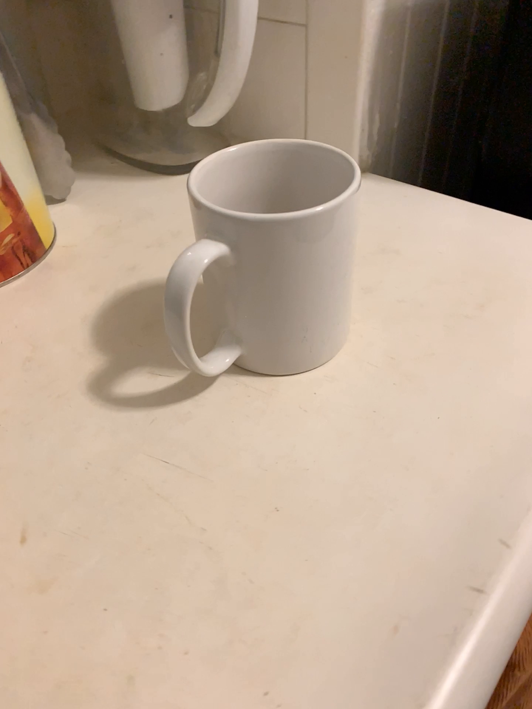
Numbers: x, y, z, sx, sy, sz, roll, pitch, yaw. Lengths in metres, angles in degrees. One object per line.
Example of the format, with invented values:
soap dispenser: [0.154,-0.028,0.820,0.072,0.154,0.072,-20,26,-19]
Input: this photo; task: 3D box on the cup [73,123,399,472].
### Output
cup: [-0.005,-0.039,0.296,0.090,0.109,0.140,22,48,25]
